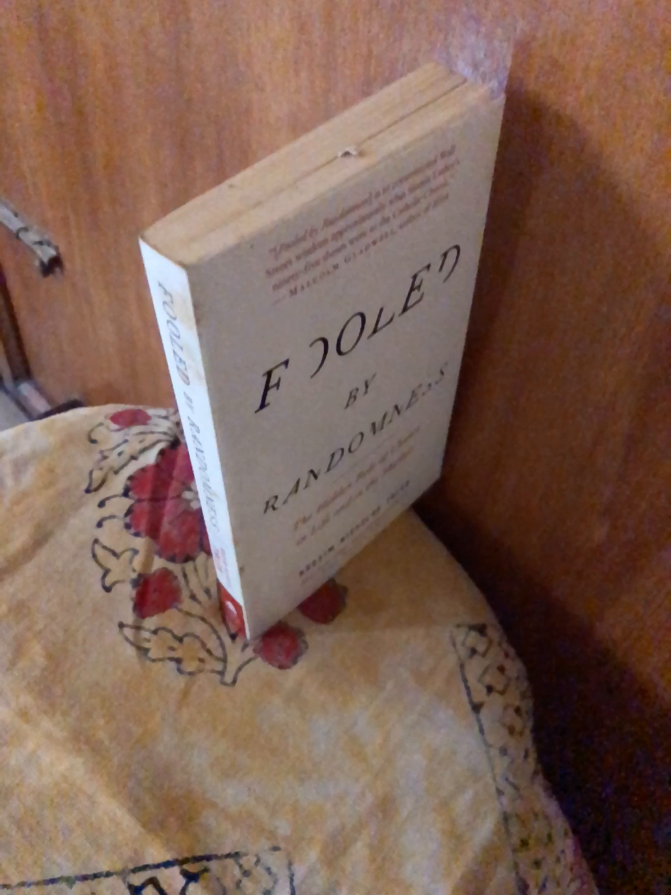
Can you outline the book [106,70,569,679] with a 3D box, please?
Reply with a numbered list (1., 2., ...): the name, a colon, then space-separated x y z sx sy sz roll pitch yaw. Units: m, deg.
1. book: 0.001 -0.021 0.295 0.040 0.199 0.160 37 53 24
